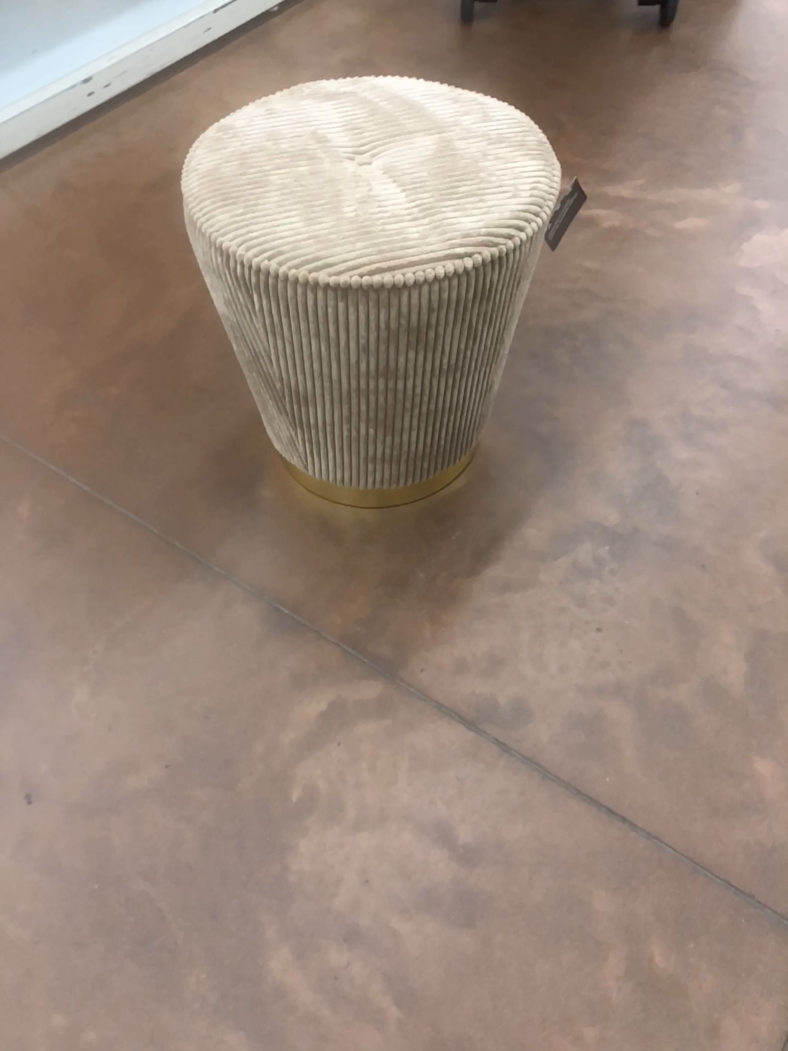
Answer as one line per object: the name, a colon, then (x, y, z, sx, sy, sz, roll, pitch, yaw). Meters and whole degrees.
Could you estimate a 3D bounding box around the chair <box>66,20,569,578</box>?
chair: (-0.054, -0.297, 1.145, 0.420, 0.479, 0.451, 14, 54, 13)
